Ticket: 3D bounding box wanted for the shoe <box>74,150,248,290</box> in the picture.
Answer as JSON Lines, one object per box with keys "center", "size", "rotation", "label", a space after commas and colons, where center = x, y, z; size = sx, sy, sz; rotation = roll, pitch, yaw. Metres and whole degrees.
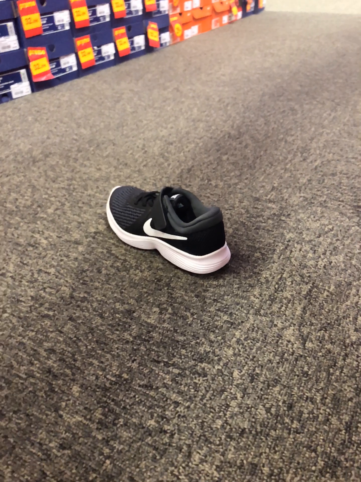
{"center": [-0.031, -0.039, 0.516], "size": [0.217, 0.080, 0.090], "rotation": [28, 45, 36], "label": "shoe"}
